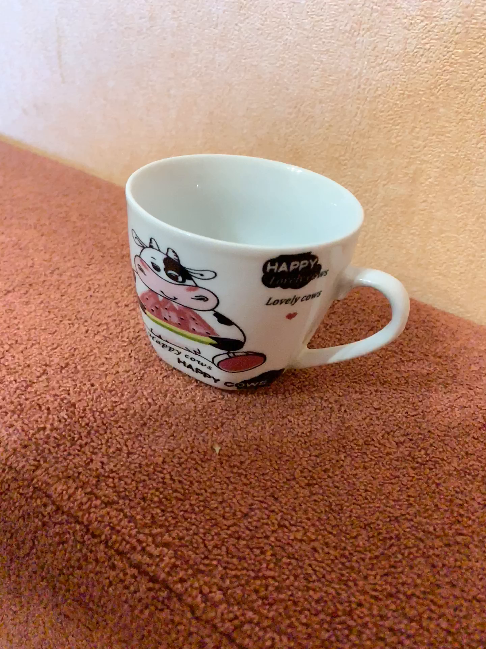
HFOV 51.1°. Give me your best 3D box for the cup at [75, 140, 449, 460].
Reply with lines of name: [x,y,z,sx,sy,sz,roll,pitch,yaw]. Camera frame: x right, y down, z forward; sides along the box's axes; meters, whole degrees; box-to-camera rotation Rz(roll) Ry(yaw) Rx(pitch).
cup: [0.006,-0.019,0.182,0.095,0.056,0.079,27,41,28]
